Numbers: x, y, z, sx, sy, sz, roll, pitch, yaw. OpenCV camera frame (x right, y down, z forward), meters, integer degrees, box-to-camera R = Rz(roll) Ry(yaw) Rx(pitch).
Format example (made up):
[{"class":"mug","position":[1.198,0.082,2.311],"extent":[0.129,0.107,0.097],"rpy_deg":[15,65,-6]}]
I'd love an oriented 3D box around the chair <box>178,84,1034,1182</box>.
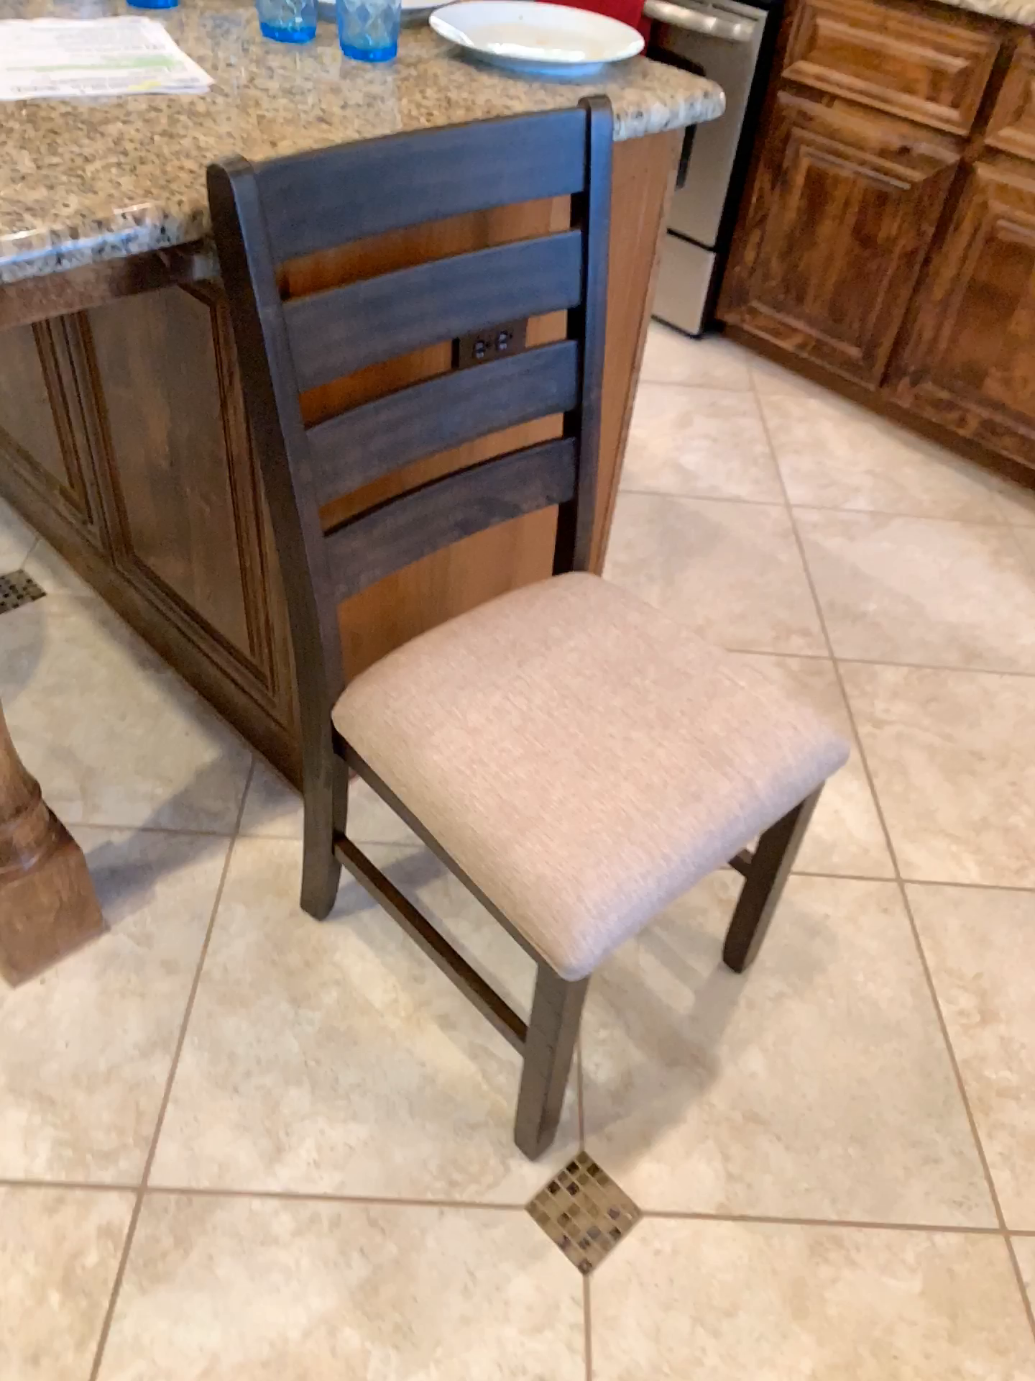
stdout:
[{"class":"chair","position":[0.053,-0.027,1.107],"extent":[0.468,0.910,0.525],"rpy_deg":[-31,55,-33]}]
